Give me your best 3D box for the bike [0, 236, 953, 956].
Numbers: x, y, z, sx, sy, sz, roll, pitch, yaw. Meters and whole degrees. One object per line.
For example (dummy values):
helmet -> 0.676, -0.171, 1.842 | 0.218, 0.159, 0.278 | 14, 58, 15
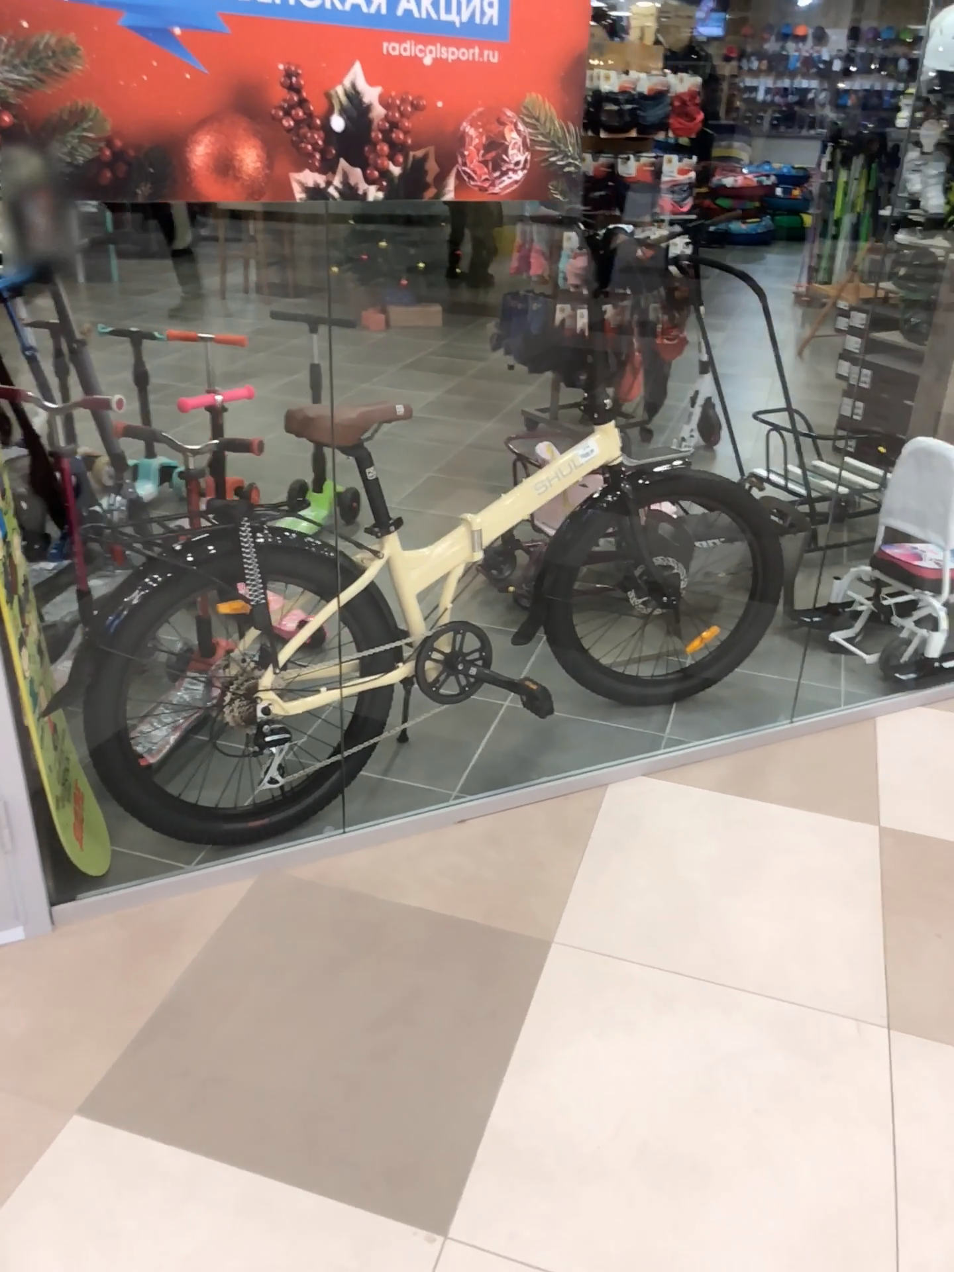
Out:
bike -> 0.083, -0.197, 2.223 | 1.705, 1.175, 0.595 | -12, 28, -28
